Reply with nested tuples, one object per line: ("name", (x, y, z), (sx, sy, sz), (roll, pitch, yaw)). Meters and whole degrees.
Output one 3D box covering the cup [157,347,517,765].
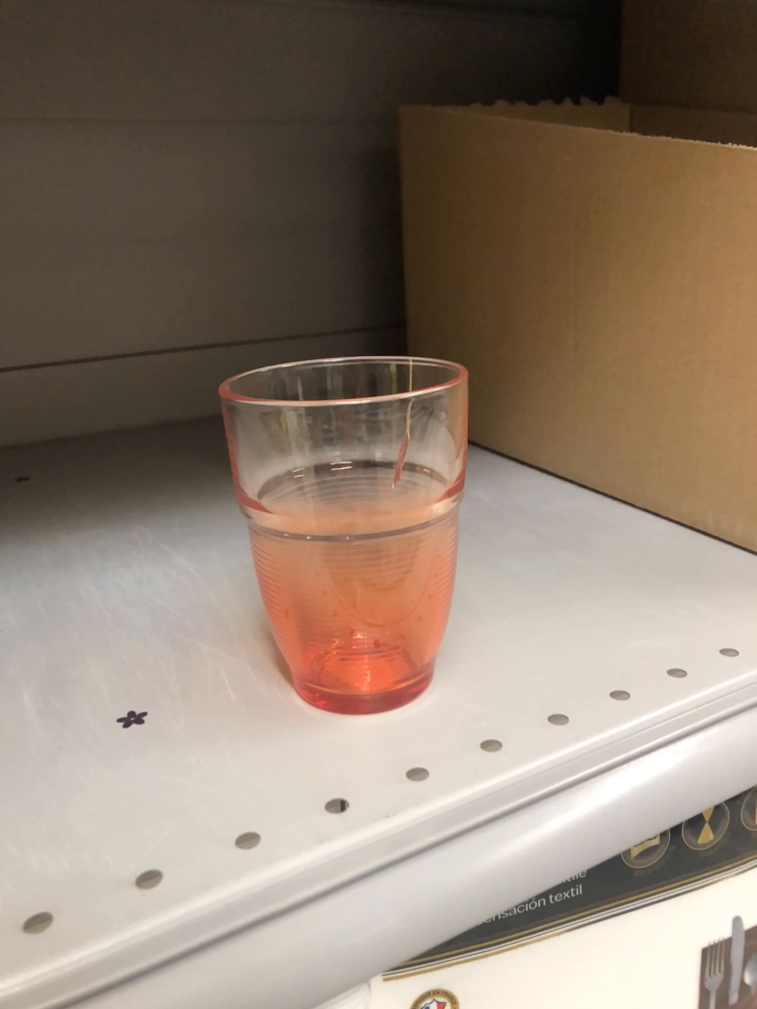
("cup", (-0.009, 0.007, 0.266), (0.074, 0.100, 0.080), (-2, 17, 1))
